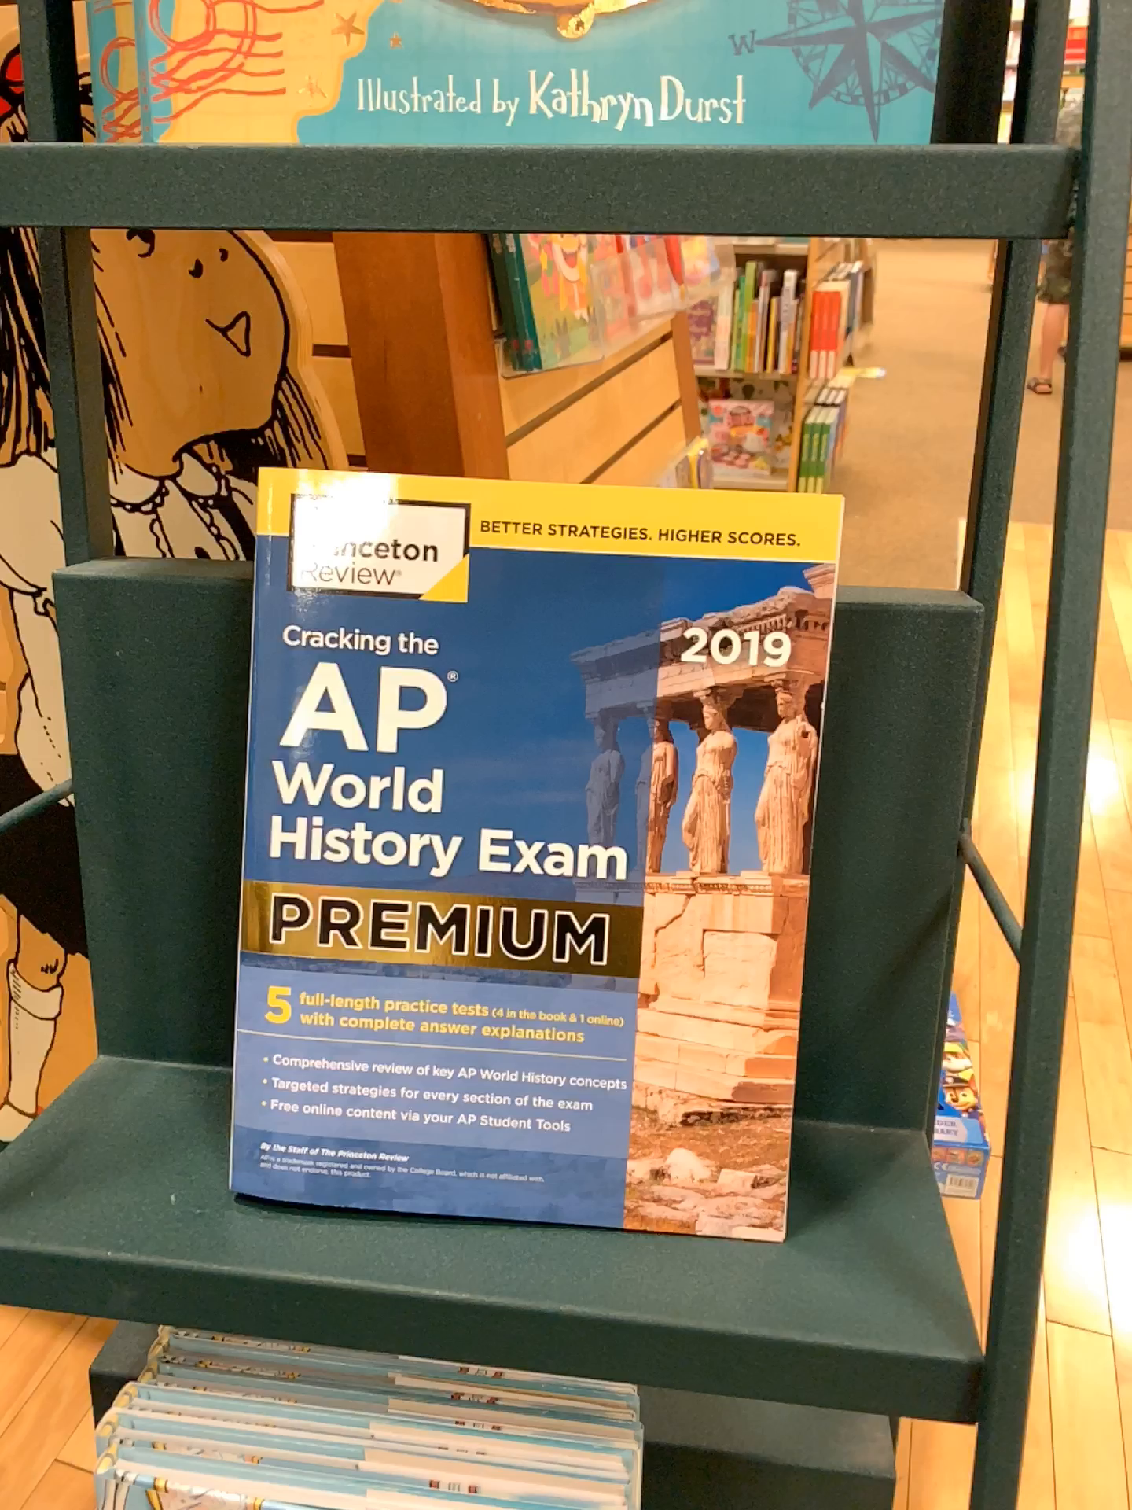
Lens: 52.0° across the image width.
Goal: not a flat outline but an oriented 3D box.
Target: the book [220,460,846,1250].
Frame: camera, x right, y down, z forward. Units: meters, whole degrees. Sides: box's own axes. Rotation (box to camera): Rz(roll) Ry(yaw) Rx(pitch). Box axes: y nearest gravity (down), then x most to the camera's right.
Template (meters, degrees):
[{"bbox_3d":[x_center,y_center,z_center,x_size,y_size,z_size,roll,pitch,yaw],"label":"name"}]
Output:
[{"bbox_3d":[-0.014,0.032,0.437,0.214,0.270,0.057,2,3,6],"label":"book"}]
